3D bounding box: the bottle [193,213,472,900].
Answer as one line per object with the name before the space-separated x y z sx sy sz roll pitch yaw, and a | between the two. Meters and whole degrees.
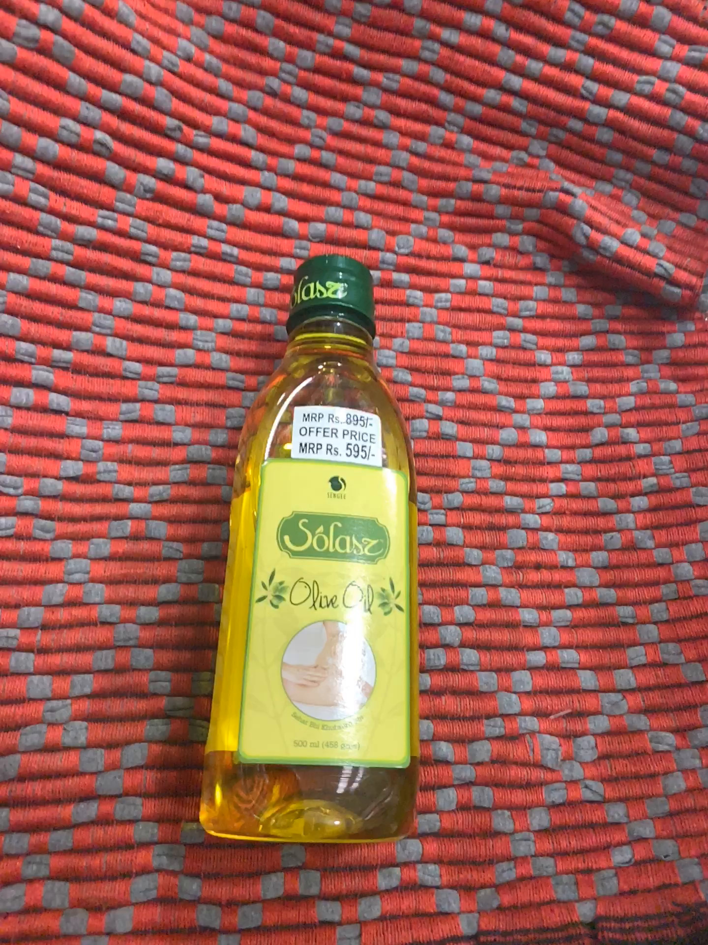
bottle | -0.006 0.019 0.256 0.070 0.060 0.220 5 65 -7
